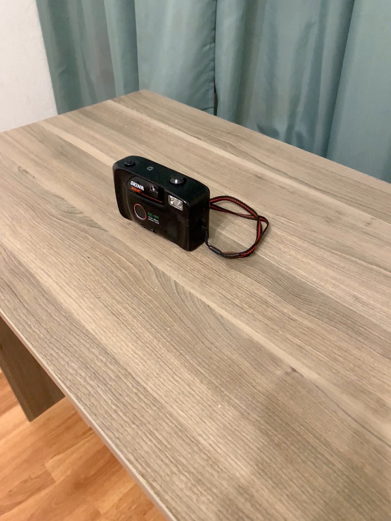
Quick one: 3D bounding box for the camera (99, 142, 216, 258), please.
[{"bbox_3d":[-0.042,-0.067,0.425,0.120,0.069,0.045,31,47,28],"label":"camera"}]
